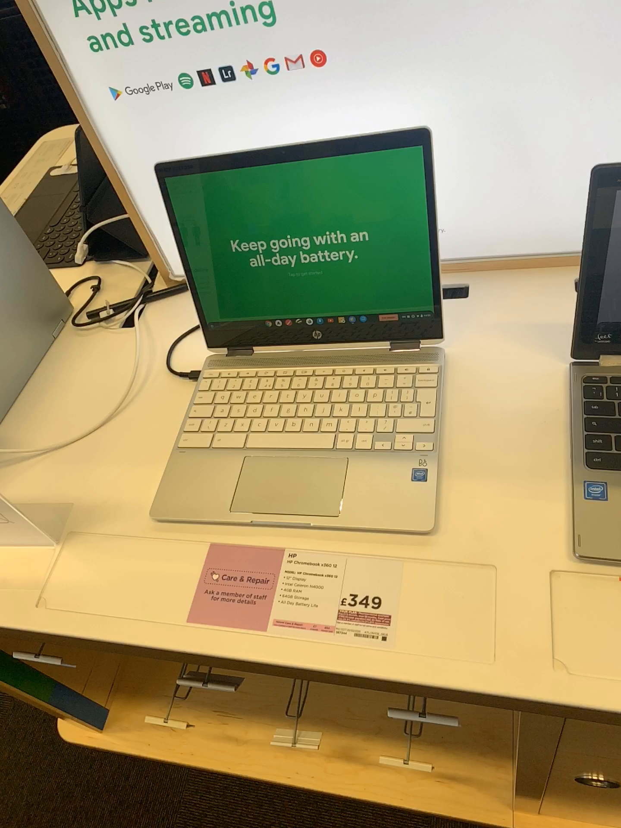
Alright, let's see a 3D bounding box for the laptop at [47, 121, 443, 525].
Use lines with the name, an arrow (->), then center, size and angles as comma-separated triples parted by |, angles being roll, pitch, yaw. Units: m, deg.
laptop -> -0.026, -0.077, 0.571 | 0.258, 0.190, 0.271 | 0, 54, 18
